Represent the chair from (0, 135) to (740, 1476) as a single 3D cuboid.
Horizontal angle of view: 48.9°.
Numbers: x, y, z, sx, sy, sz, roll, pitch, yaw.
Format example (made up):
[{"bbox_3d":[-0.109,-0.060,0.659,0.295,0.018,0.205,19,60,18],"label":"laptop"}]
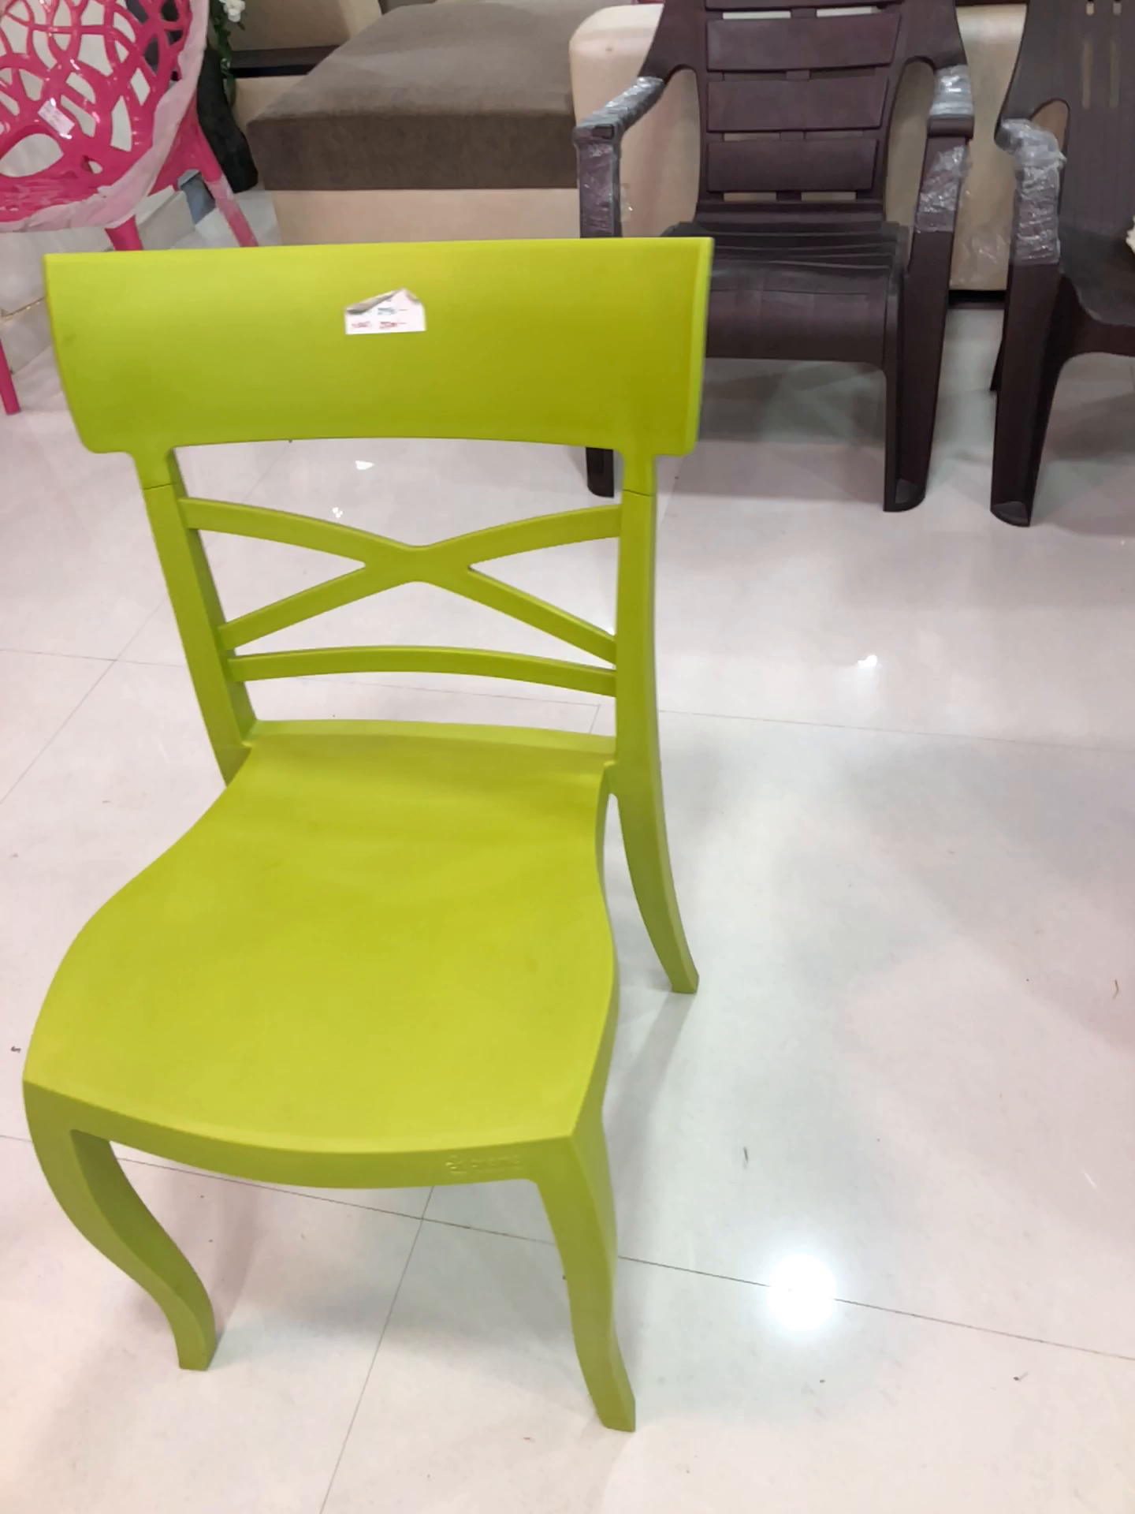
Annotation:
[{"bbox_3d":[-0.143,0.045,0.984,0.500,0.805,0.613,4,42,11],"label":"chair"}]
